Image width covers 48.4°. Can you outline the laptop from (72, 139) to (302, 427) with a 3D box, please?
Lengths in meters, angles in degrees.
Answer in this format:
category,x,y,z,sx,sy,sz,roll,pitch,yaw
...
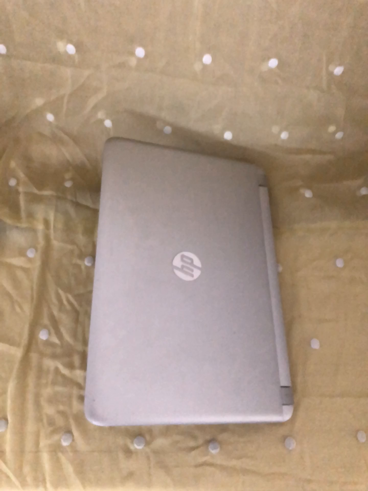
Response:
category,x,y,z,sx,sy,sz,roll,pitch,yaw
laptop,0.001,0.034,0.541,0.243,0.077,0.366,0,66,-3
